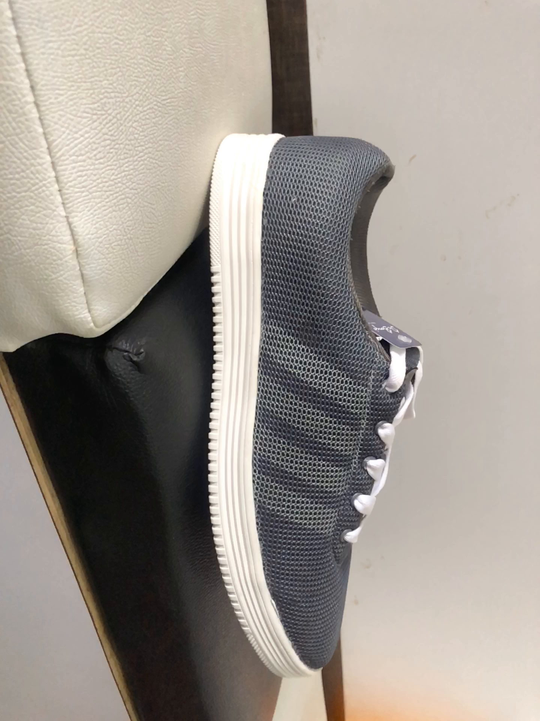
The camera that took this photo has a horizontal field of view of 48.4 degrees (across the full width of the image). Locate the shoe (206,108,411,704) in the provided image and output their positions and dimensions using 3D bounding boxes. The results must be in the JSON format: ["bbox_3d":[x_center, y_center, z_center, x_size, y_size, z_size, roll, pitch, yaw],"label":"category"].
[{"bbox_3d":[0.028,0.024,0.357,0.100,0.100,0.300,-29,119,-76],"label":"shoe"}]
